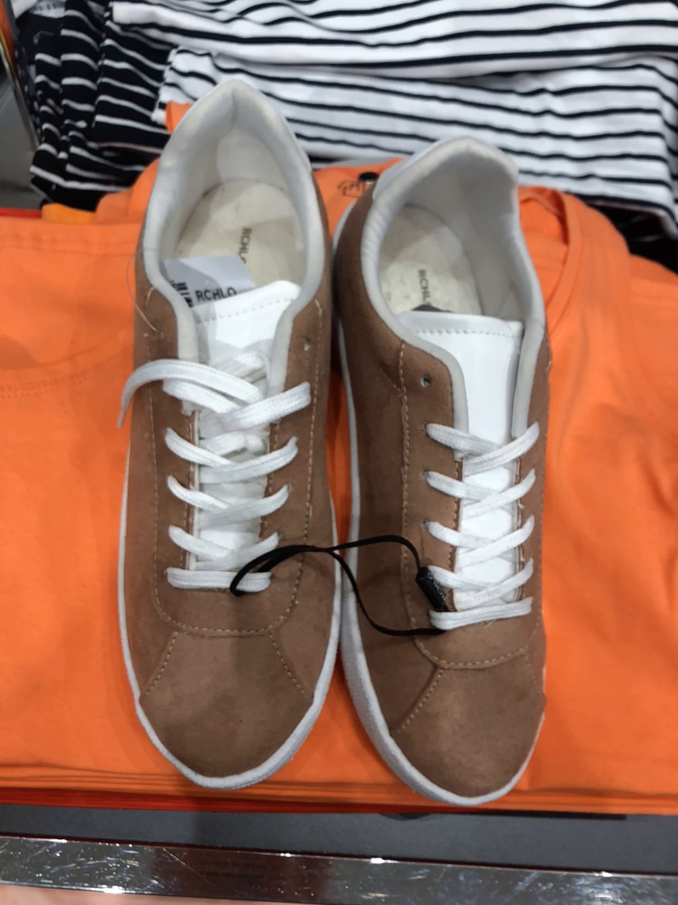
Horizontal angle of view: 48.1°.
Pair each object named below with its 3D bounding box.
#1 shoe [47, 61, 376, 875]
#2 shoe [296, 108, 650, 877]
[{"bbox_3d":[-0.040,0.002,0.284,0.090,0.100,0.250,1,79,-5],"label":"shoe"},{"bbox_3d":[0.037,0.008,0.299,0.090,0.100,0.250,-2,79,-7],"label":"shoe"}]
